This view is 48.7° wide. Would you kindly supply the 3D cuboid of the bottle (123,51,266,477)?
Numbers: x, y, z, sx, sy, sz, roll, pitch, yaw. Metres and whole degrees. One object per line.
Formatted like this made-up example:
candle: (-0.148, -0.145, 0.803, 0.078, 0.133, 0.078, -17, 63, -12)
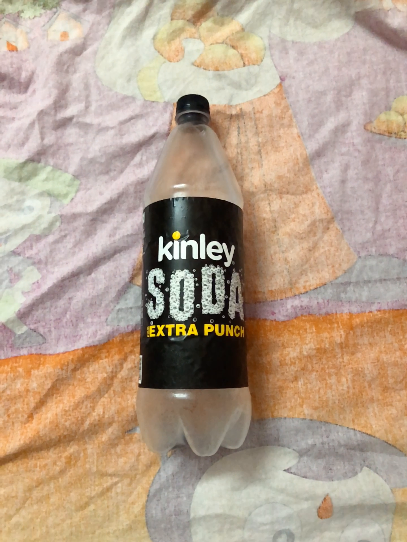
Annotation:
bottle: (-0.010, -0.008, 0.338, 0.090, 0.080, 0.280, 1, 83, -7)
